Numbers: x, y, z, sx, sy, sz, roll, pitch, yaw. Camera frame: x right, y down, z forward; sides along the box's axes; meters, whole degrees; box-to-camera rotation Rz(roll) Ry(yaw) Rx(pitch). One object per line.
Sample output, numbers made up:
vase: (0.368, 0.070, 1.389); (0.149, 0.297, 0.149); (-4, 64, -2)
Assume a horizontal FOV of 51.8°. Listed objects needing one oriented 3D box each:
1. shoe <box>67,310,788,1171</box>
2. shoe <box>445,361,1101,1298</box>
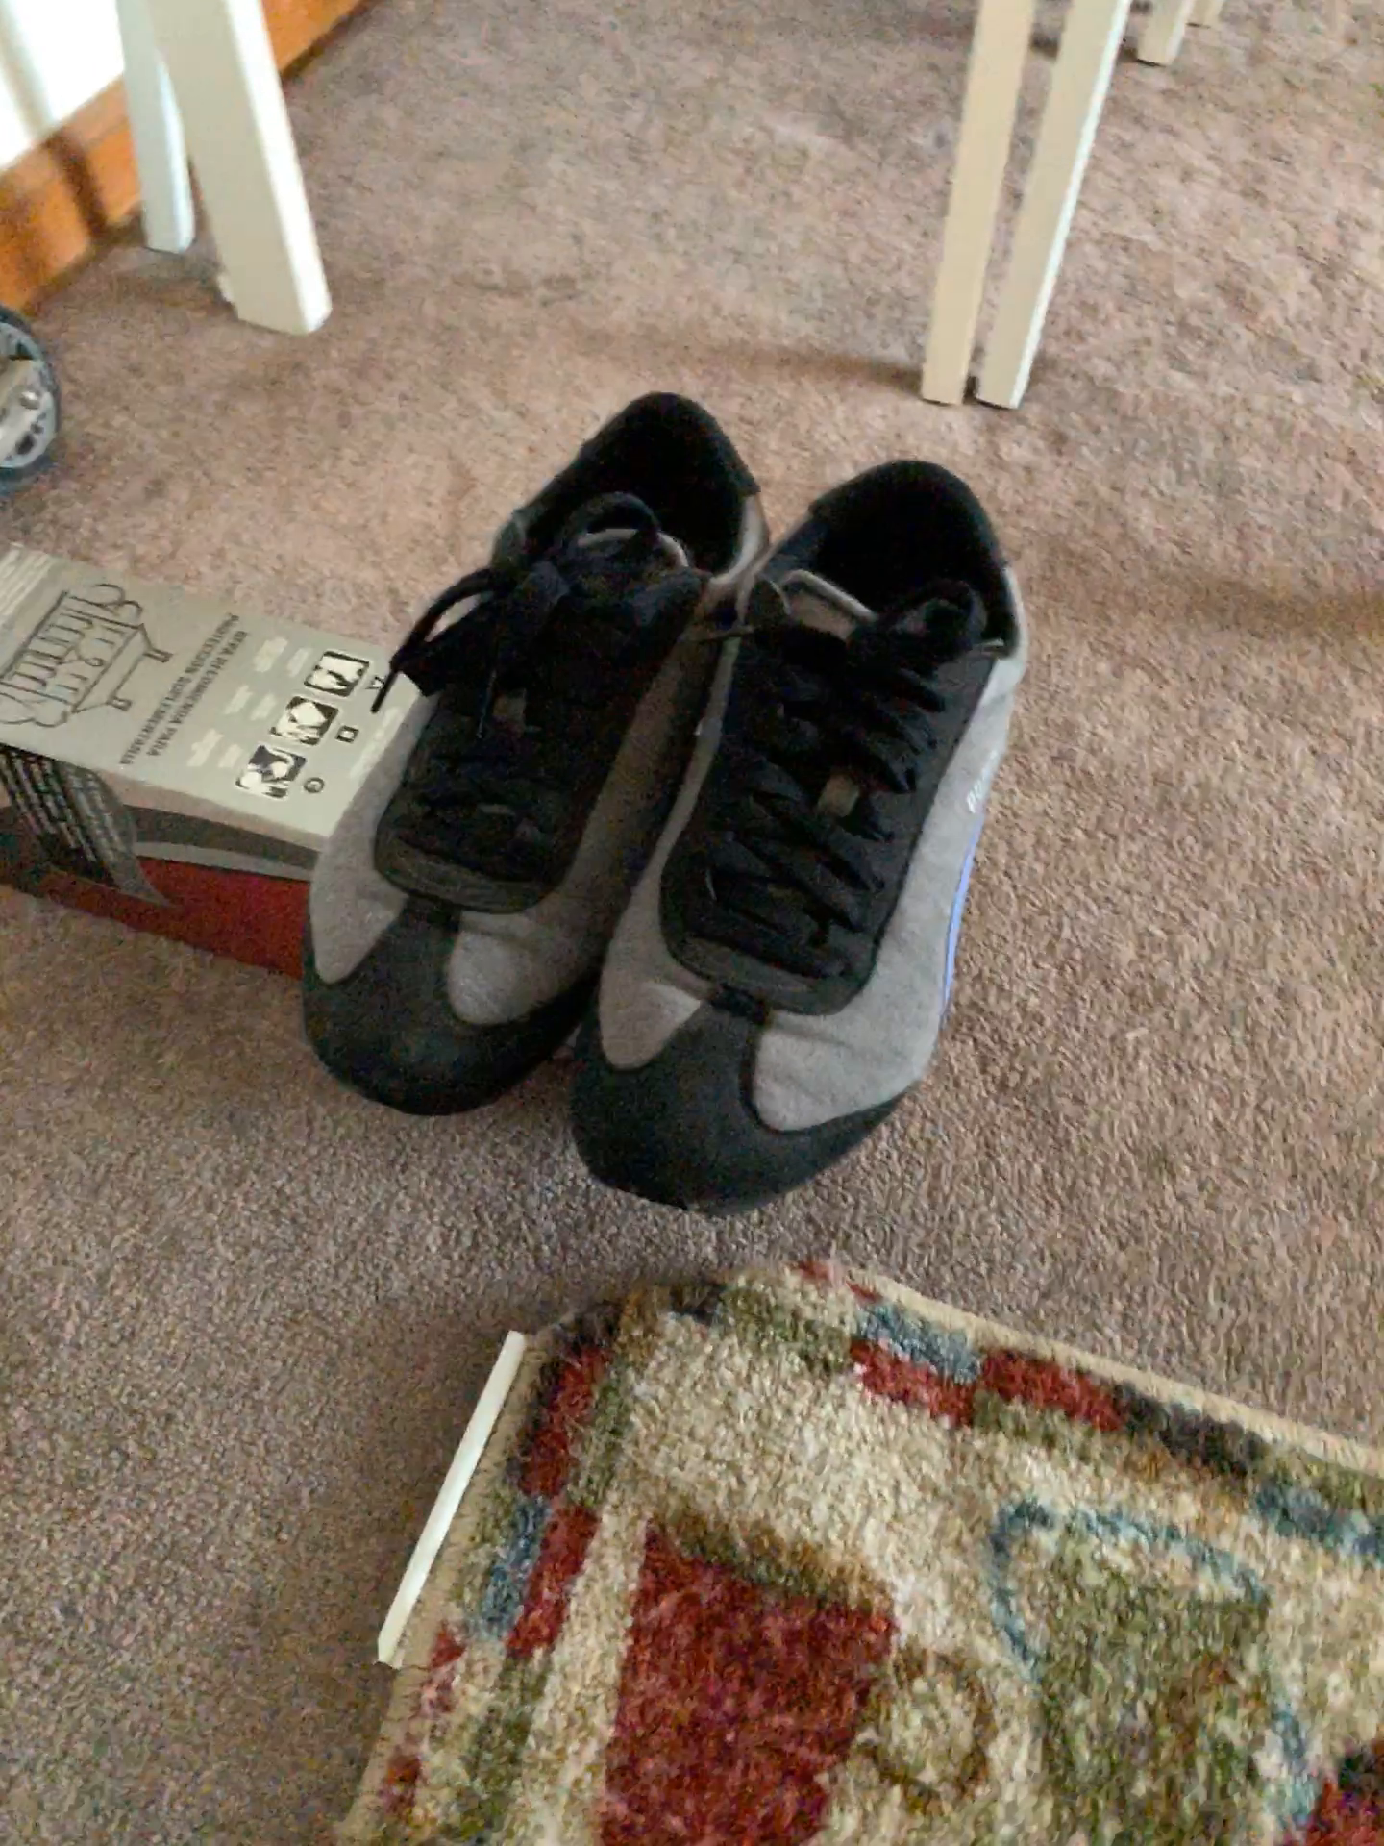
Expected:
shoe: (-0.057, -0.063, 0.414); (0.100, 0.089, 0.232); (16, 58, 11)
shoe: (0.033, -0.037, 0.408); (0.100, 0.099, 0.242); (16, 58, 11)
